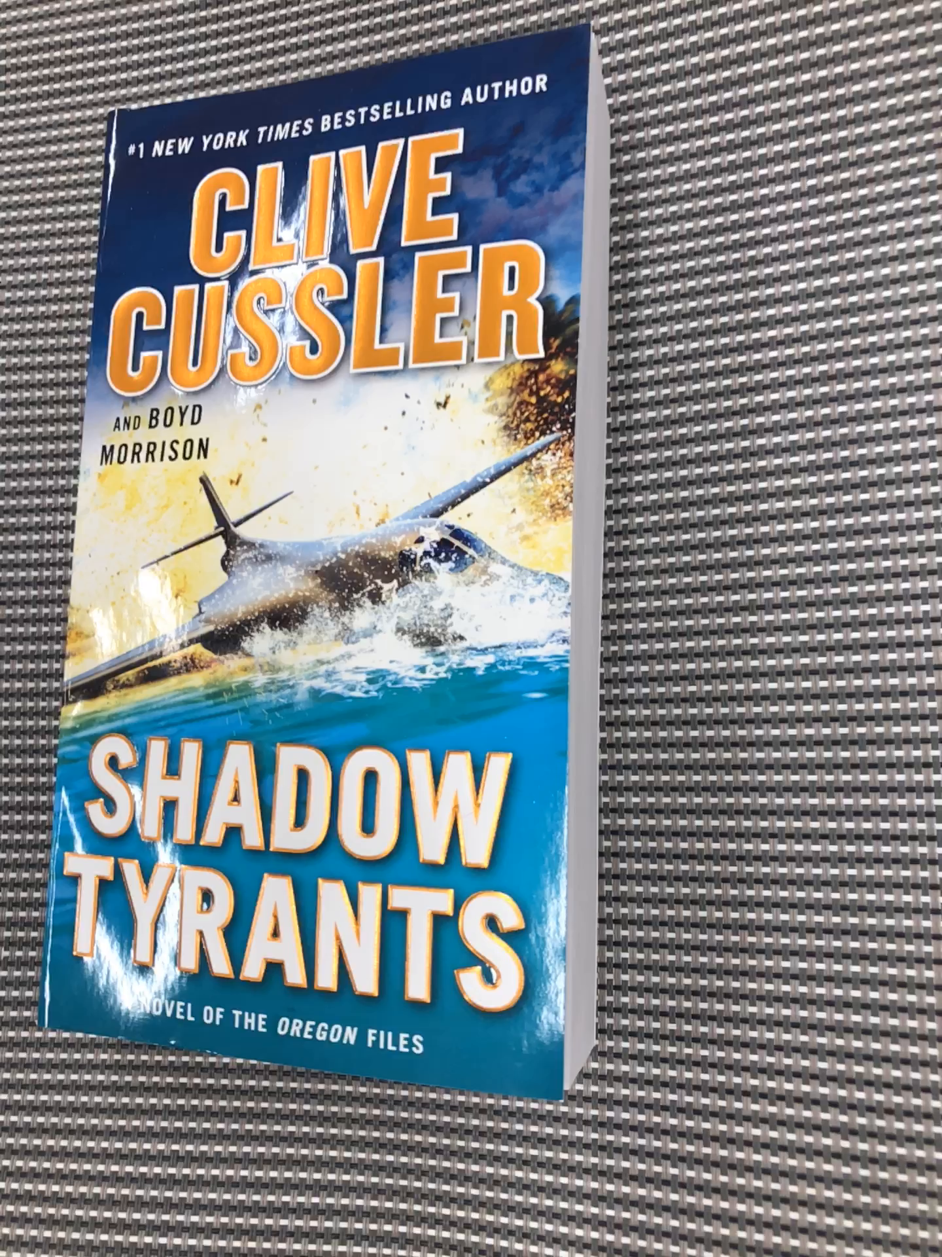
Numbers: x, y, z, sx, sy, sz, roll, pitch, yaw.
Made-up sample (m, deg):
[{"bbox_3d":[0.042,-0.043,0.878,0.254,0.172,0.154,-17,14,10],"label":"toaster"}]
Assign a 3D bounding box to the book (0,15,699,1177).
[{"bbox_3d":[-0.022,-0.009,0.207,0.120,0.060,0.180,2,84,17],"label":"book"}]
